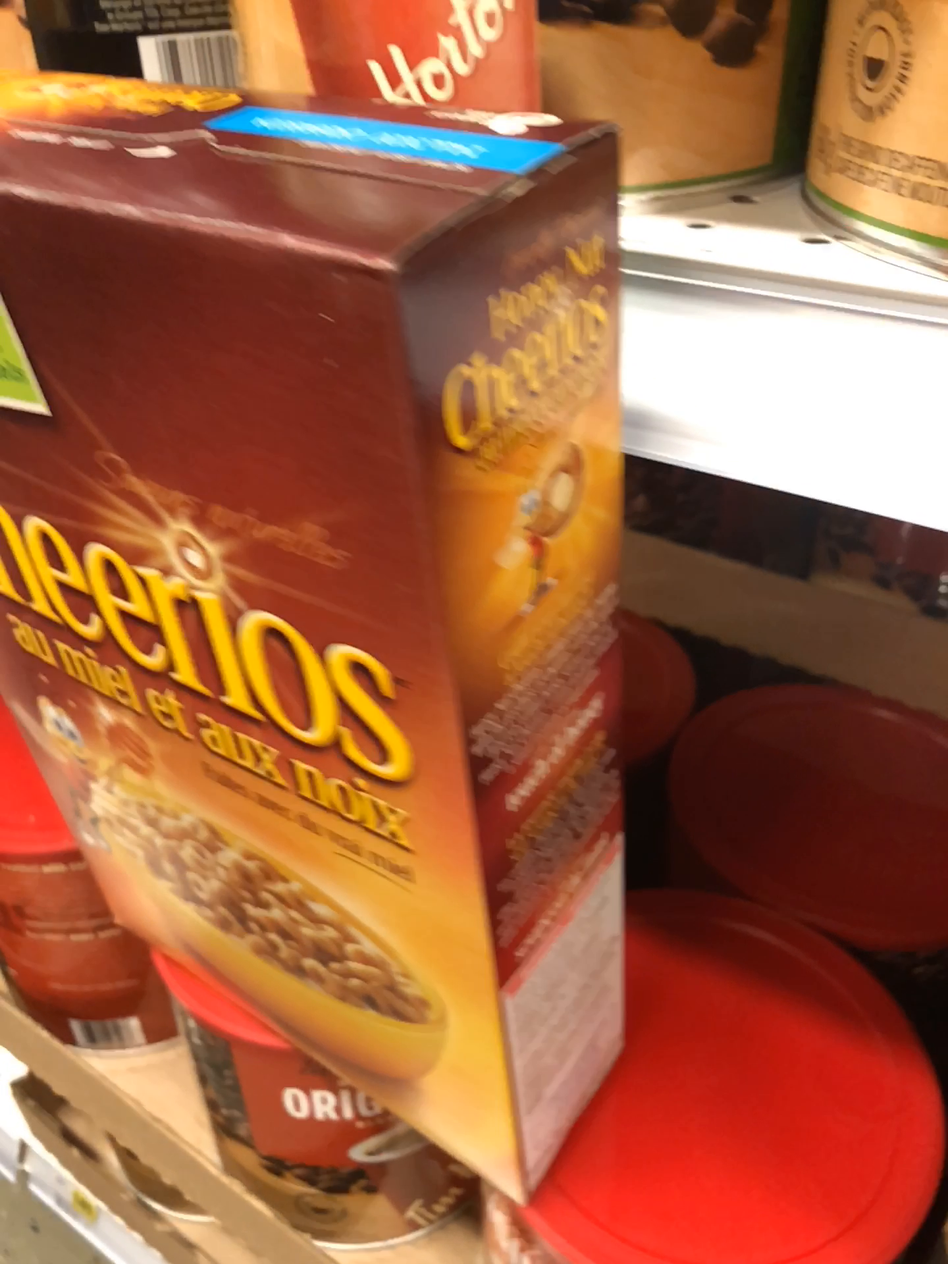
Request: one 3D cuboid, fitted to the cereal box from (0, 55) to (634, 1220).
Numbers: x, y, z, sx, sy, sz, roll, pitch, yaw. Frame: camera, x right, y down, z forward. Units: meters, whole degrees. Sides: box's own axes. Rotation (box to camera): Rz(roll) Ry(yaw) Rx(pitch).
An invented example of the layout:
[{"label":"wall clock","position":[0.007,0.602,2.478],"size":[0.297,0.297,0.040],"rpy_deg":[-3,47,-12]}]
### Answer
[{"label":"cereal box","position":[-0.059,0.013,0.293],"size":[0.200,0.289,0.060],"rpy_deg":[21,46,31]}]
